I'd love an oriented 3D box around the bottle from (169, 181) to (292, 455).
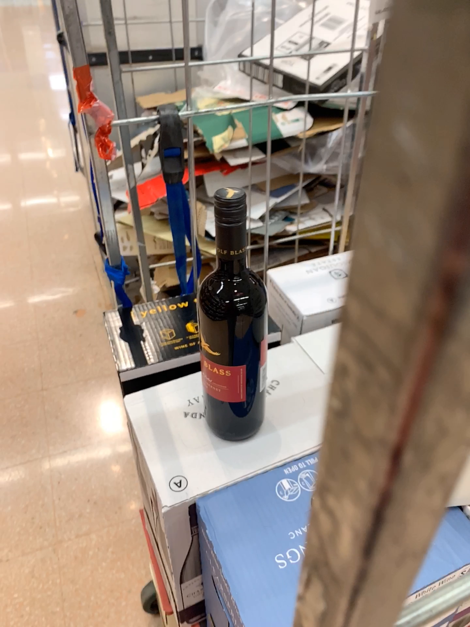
[{"bbox_3d":[-0.007,0.015,0.498,0.075,0.270,0.081,1,37,-1],"label":"bottle"}]
